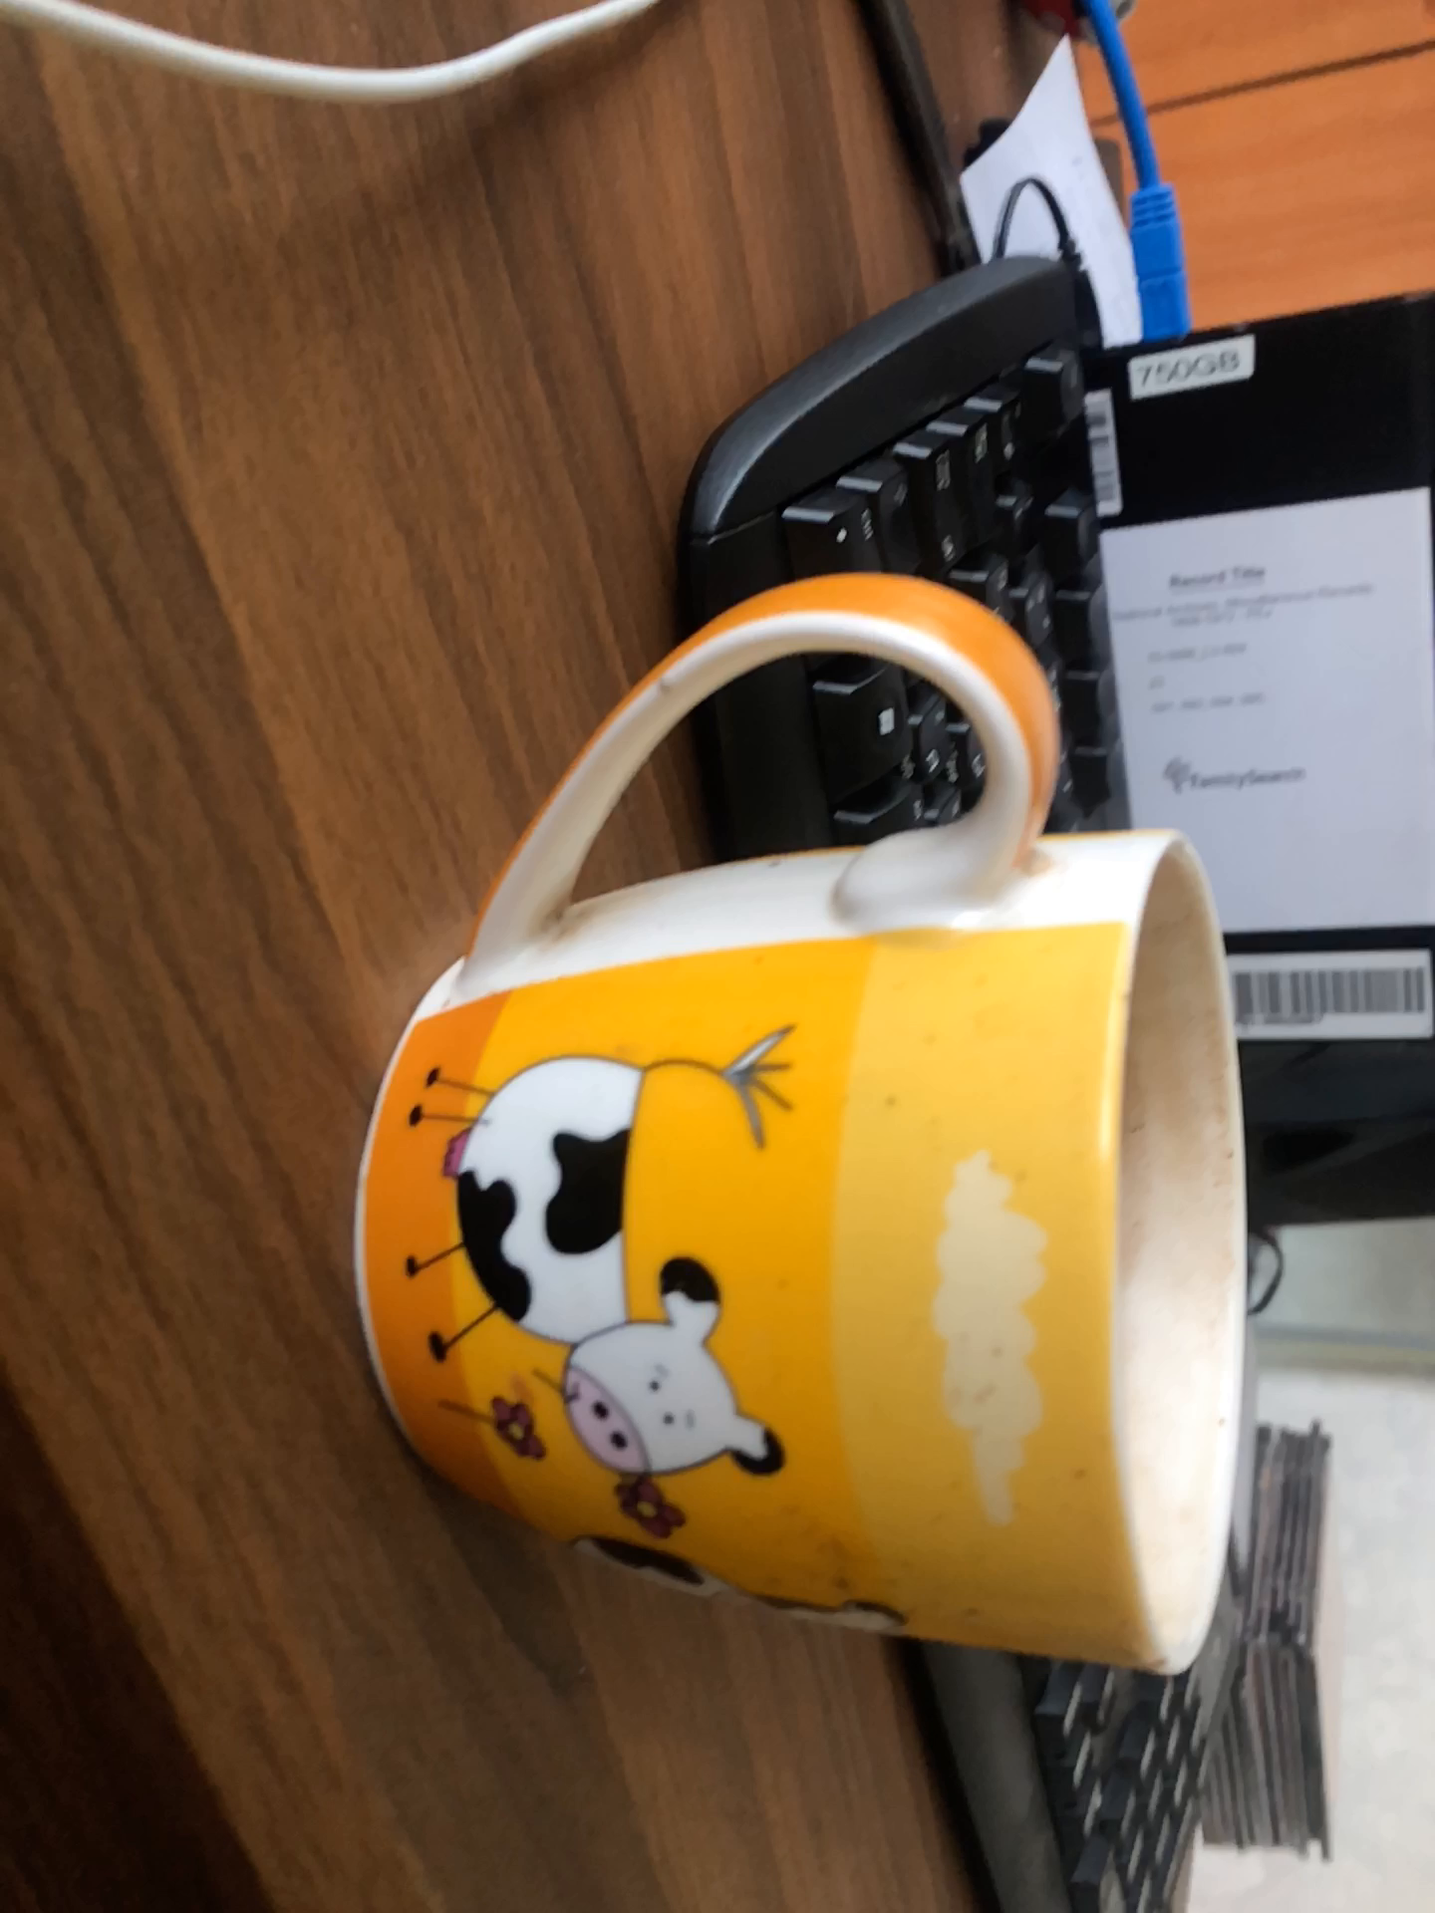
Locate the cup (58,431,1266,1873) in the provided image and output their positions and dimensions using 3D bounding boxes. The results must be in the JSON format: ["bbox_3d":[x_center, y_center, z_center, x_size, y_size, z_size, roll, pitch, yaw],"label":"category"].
[{"bbox_3d":[0.010,0.019,0.202,0.093,0.095,0.135,-51,133,-54],"label":"cup"}]
